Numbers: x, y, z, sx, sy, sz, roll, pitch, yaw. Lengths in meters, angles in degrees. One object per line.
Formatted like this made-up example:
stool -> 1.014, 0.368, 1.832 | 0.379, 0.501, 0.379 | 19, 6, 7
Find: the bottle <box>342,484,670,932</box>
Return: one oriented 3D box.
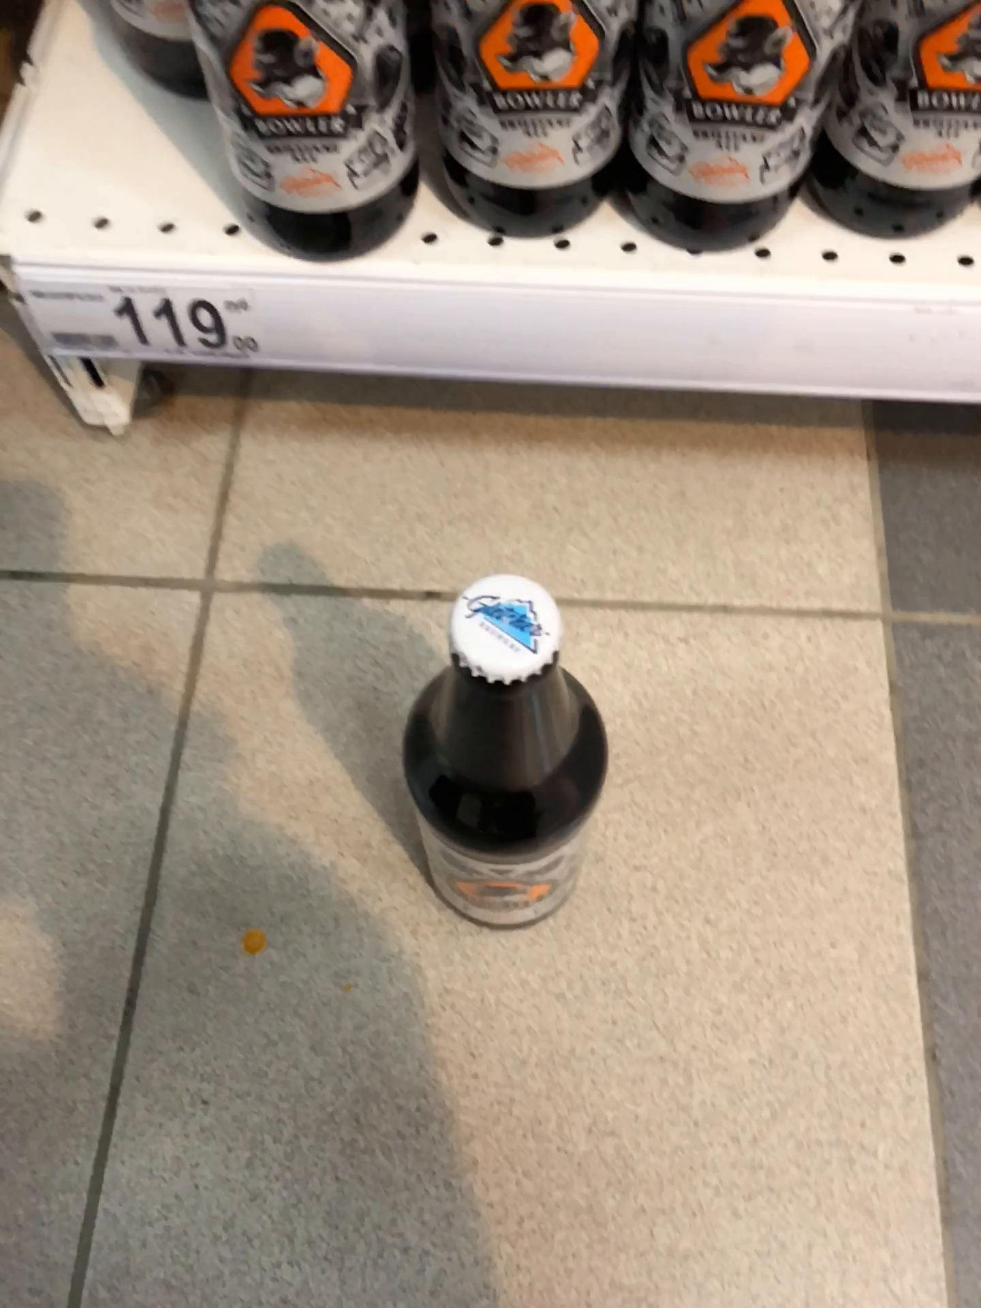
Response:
bottle -> 0.006, 0.038, 0.370 | 0.074, 0.240, 0.070 | 0, 66, 1
